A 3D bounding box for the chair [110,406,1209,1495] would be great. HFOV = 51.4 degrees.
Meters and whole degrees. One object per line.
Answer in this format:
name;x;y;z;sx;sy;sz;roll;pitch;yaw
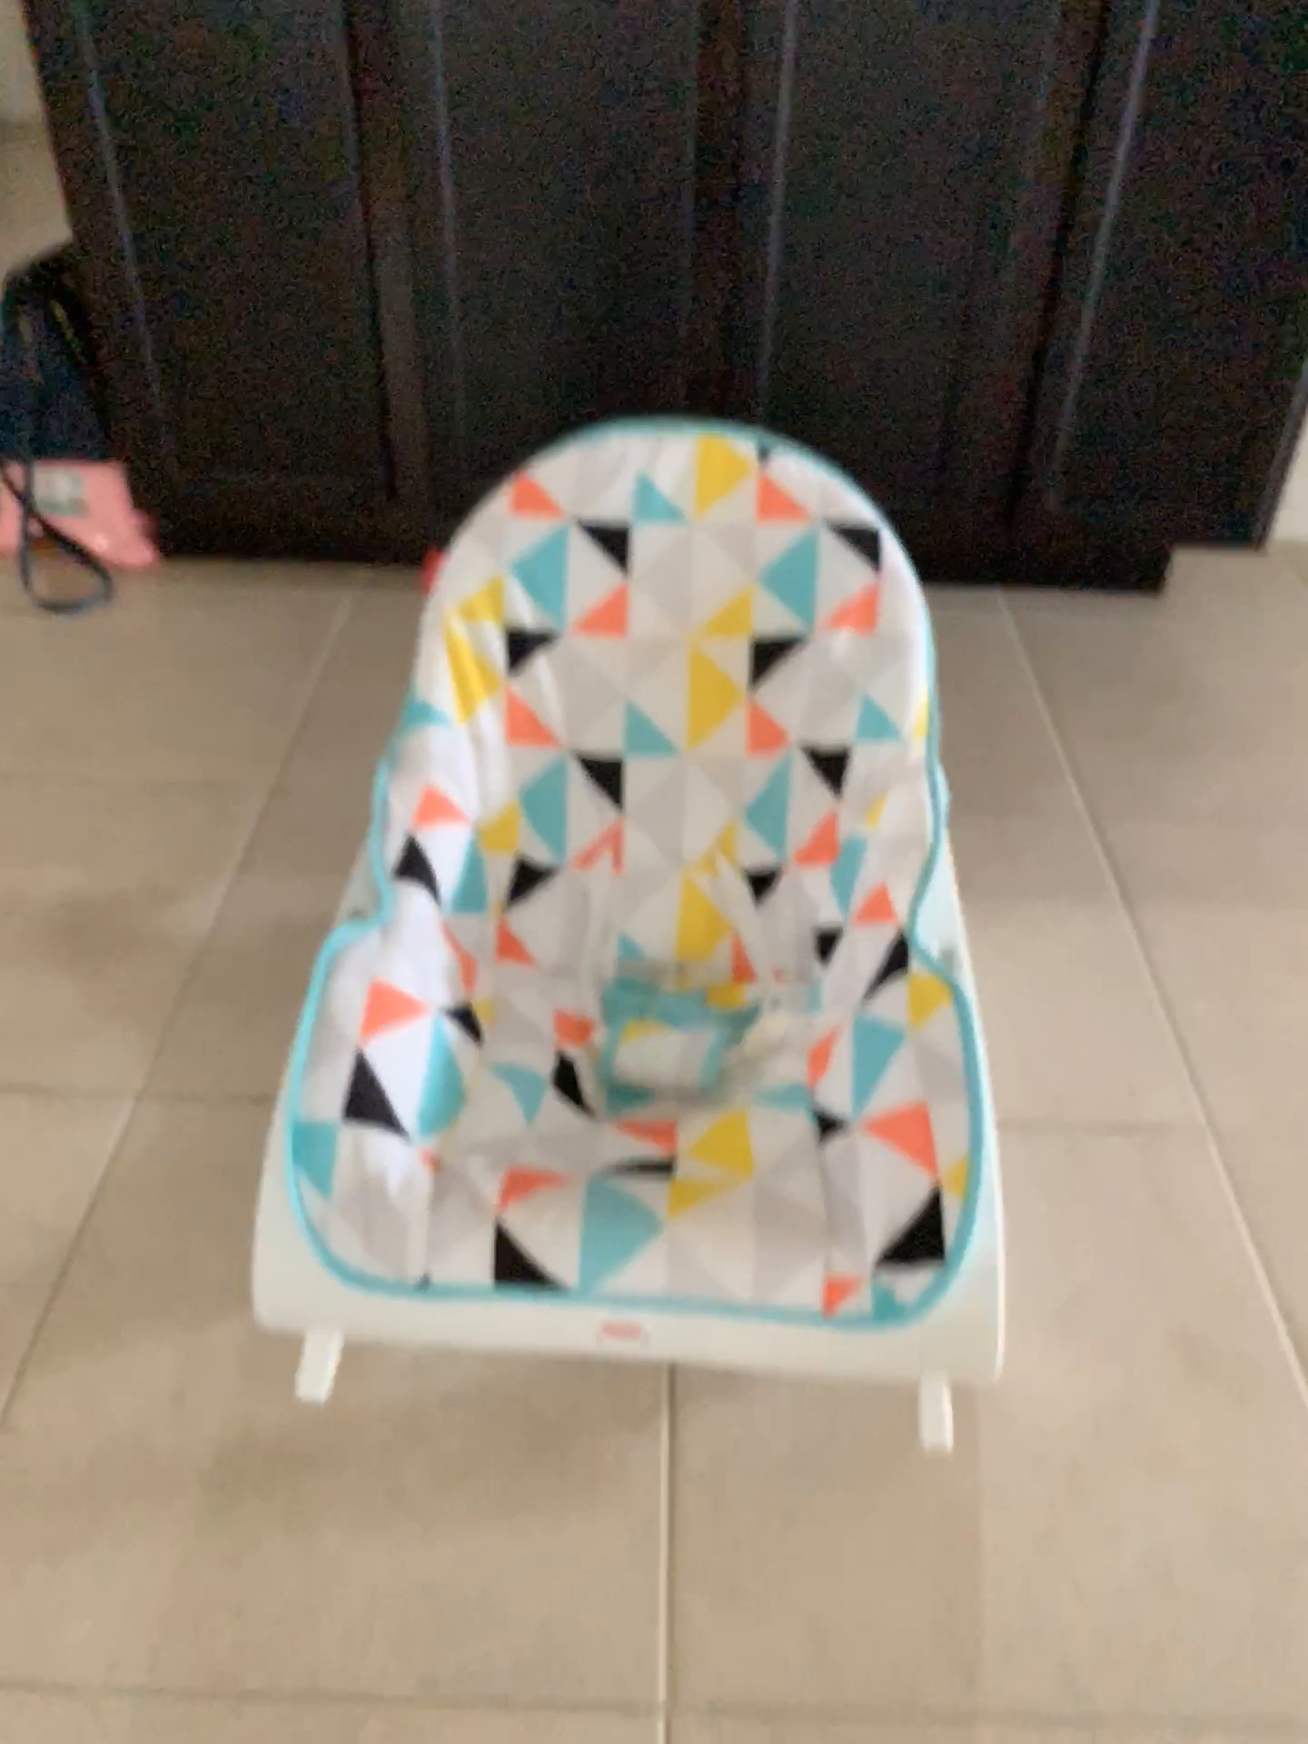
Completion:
chair;0.011;0.005;1.093;0.530;0.485;0.738;2;38;1
